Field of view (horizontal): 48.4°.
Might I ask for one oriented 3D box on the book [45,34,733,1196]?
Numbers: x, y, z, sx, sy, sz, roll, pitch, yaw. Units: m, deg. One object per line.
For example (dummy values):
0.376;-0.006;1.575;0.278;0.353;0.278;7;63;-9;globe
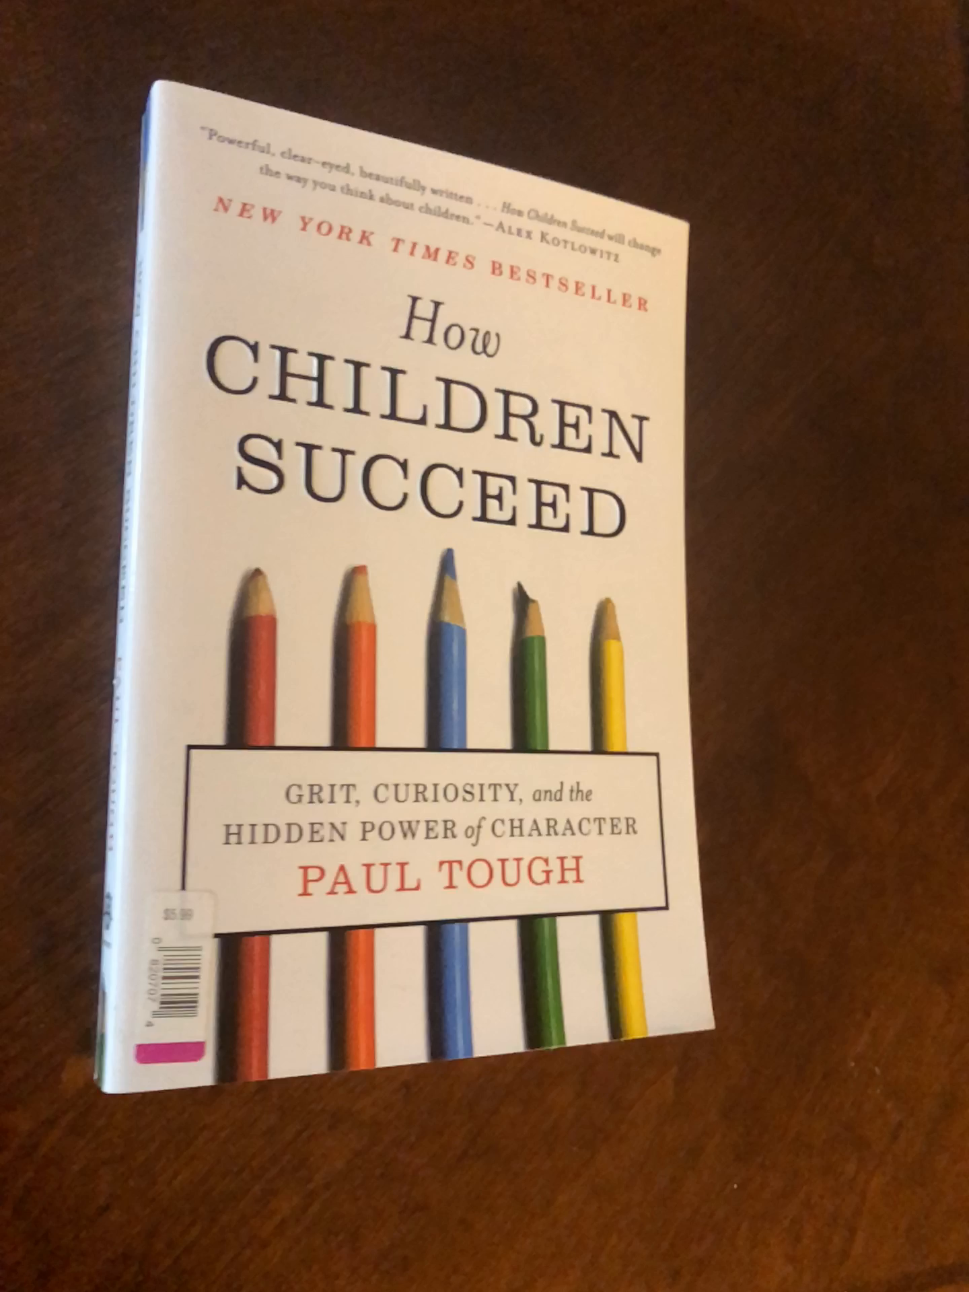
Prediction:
-0.014;-0.007;0.236;0.140;0.030;0.210;4;82;-26;book
